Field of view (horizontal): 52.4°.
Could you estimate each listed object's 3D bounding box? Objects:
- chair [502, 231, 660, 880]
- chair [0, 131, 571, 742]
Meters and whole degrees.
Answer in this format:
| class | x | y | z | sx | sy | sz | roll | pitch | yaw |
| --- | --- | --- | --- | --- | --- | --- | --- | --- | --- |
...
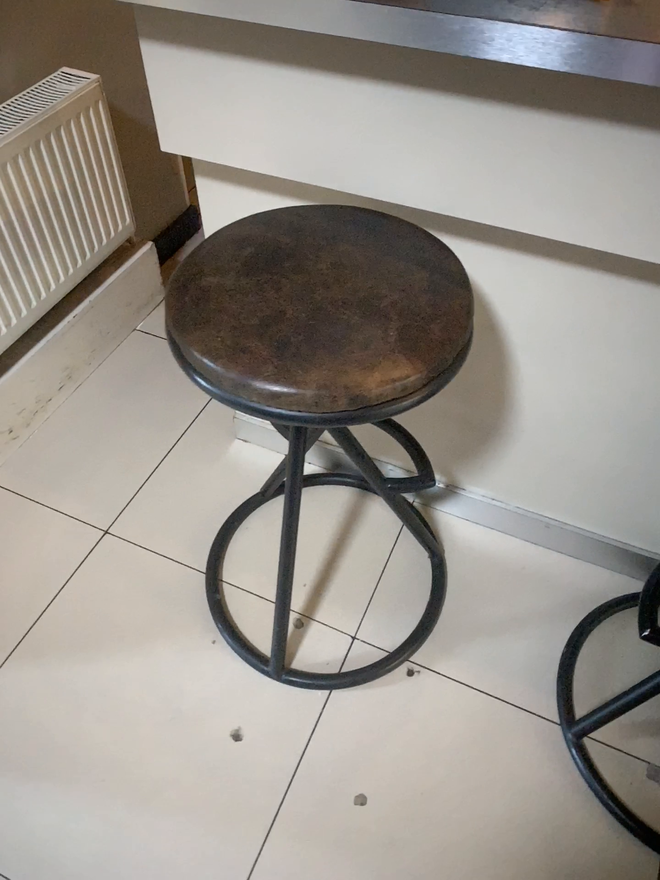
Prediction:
| class | x | y | z | sx | sy | sz | roll | pitch | yaw |
| --- | --- | --- | --- | --- | --- | --- | --- | --- | --- |
| chair | 0.636 | 0.232 | 0.912 | 0.550 | 0.728 | 0.529 | 17 | 51 | 15 |
| chair | -0.019 | 0.010 | 1.120 | 0.550 | 0.728 | 0.549 | 17 | 51 | 15 |
